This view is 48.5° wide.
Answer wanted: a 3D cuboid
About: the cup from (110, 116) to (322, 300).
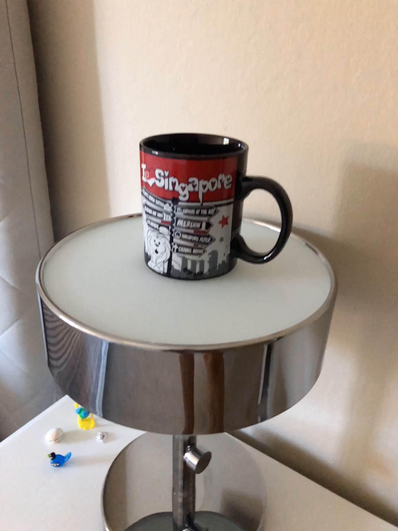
[{"bbox_3d":[0.015,-0.052,0.342,0.130,0.099,0.090,12,28,19],"label":"cup"}]
